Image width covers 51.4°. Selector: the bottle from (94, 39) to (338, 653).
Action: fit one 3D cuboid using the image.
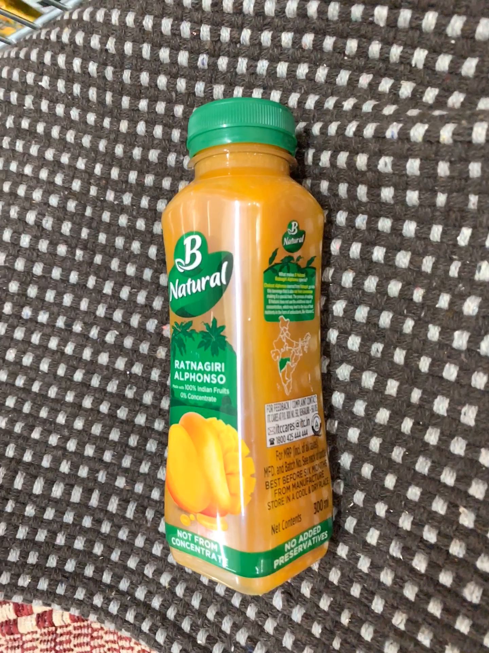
[{"bbox_3d":[-0.008,0.007,0.169,0.060,0.050,0.160,2,94,39],"label":"bottle"}]
